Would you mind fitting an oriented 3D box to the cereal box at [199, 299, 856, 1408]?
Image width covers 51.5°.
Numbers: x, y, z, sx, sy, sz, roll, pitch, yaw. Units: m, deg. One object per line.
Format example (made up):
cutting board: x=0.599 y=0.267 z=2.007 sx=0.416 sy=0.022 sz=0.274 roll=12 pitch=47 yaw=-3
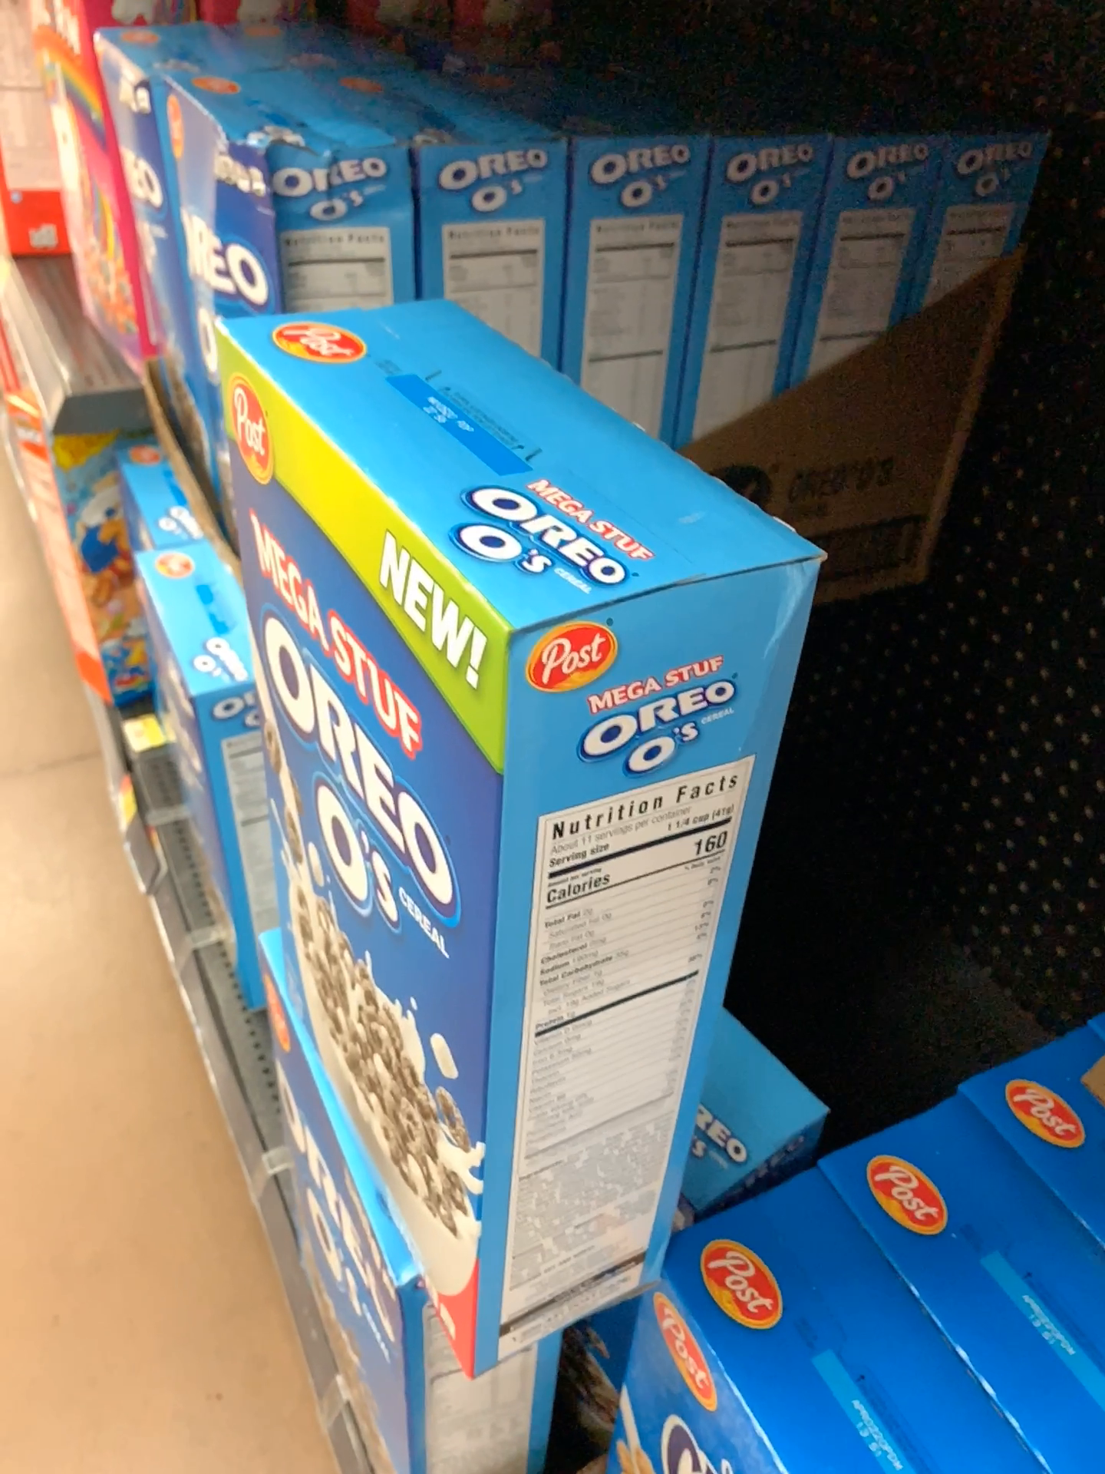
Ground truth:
cereal box: x=-0.033 y=0.040 z=0.381 sx=0.080 sy=0.299 sz=0.201 roll=-16 pitch=41 yaw=-27
